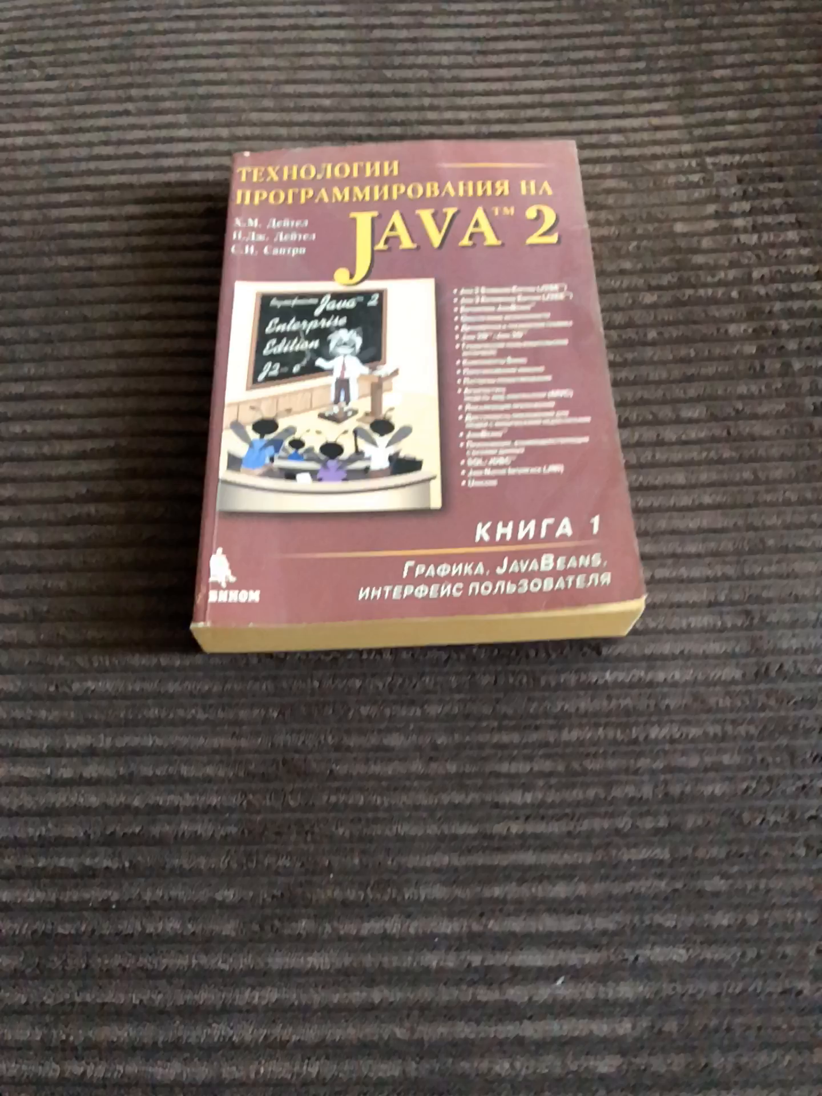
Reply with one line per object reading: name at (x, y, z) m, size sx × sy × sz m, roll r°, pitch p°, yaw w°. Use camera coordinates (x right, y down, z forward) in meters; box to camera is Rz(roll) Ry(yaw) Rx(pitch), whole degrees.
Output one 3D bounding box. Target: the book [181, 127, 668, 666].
book at (0.001, -0.075, 0.387) m, size 0.165 × 0.050 × 0.241 m, roll -2°, pitch 62°, yaw -1°
